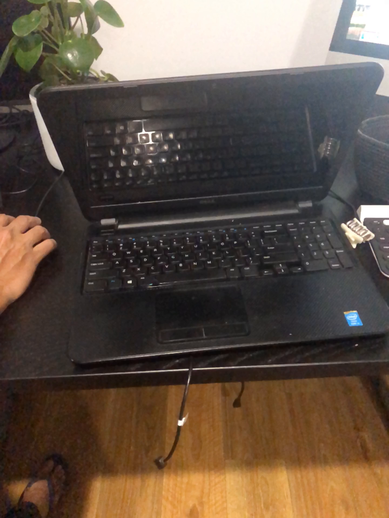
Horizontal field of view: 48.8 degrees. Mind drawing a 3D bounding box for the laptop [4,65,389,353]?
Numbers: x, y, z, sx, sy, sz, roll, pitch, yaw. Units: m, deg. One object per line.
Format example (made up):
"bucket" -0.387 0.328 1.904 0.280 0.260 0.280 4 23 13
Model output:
"laptop" 0.022 -0.060 0.482 0.366 0.210 0.207 -4 42 -2
